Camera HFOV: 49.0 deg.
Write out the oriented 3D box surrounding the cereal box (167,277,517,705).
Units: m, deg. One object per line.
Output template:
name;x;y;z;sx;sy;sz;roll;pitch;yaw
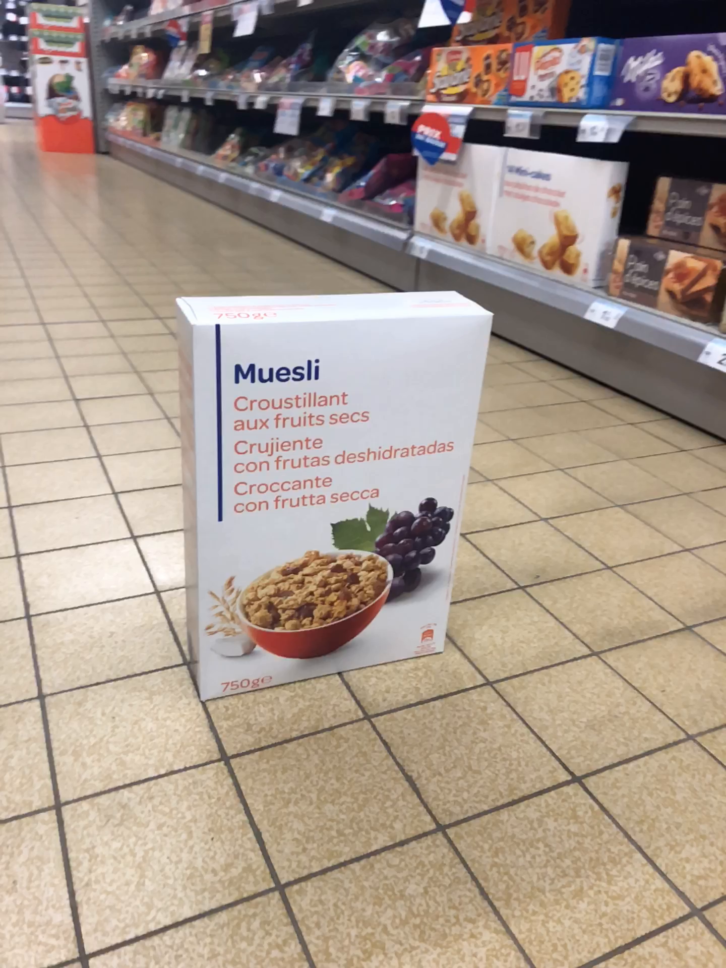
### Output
cereal box;-0.020;0.004;0.532;0.200;0.268;0.060;-6;28;-21
